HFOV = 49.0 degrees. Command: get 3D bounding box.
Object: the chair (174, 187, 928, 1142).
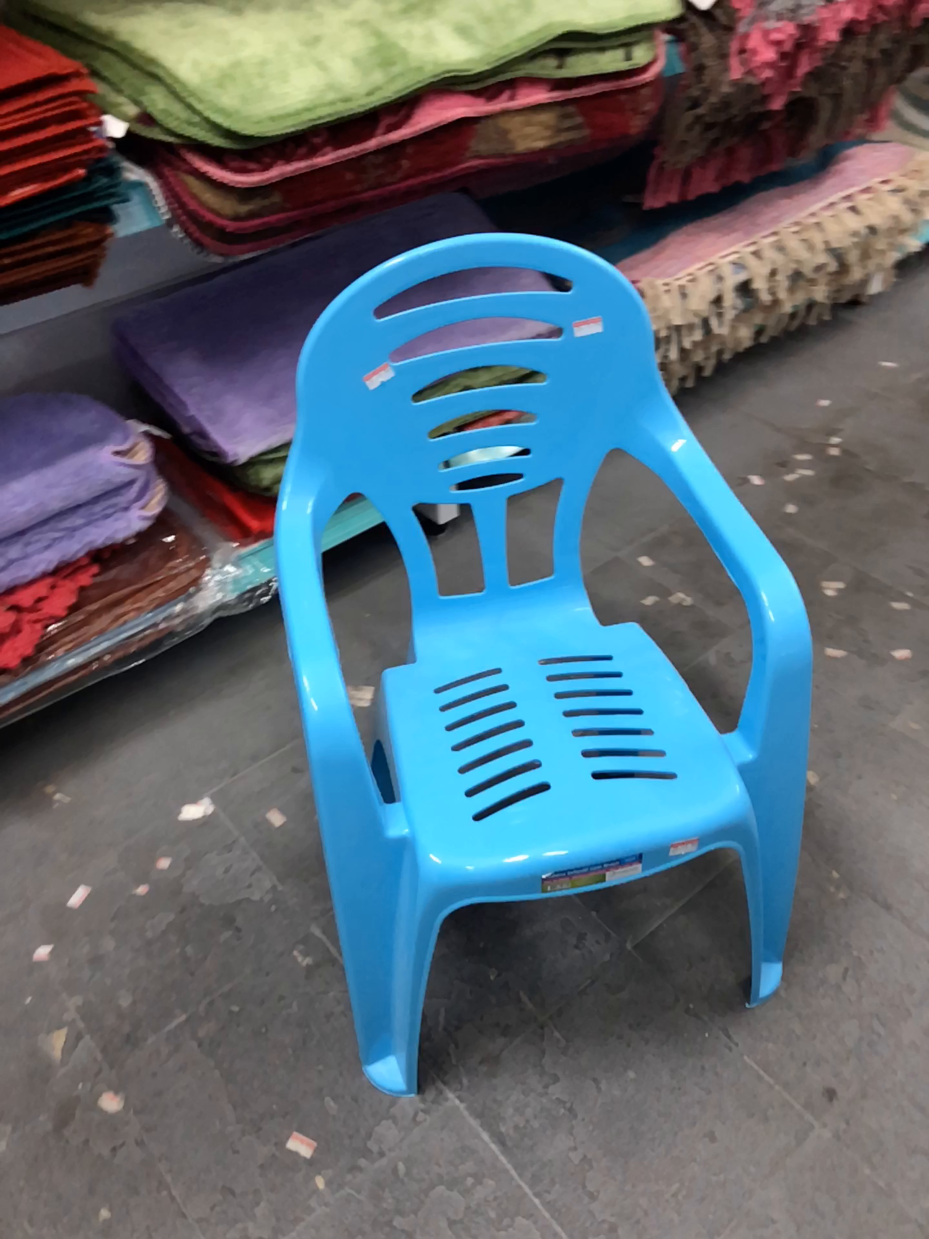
[{"bbox_3d":[0.048,0.031,0.758,0.400,0.516,0.393,-10,42,-9],"label":"chair"}]
